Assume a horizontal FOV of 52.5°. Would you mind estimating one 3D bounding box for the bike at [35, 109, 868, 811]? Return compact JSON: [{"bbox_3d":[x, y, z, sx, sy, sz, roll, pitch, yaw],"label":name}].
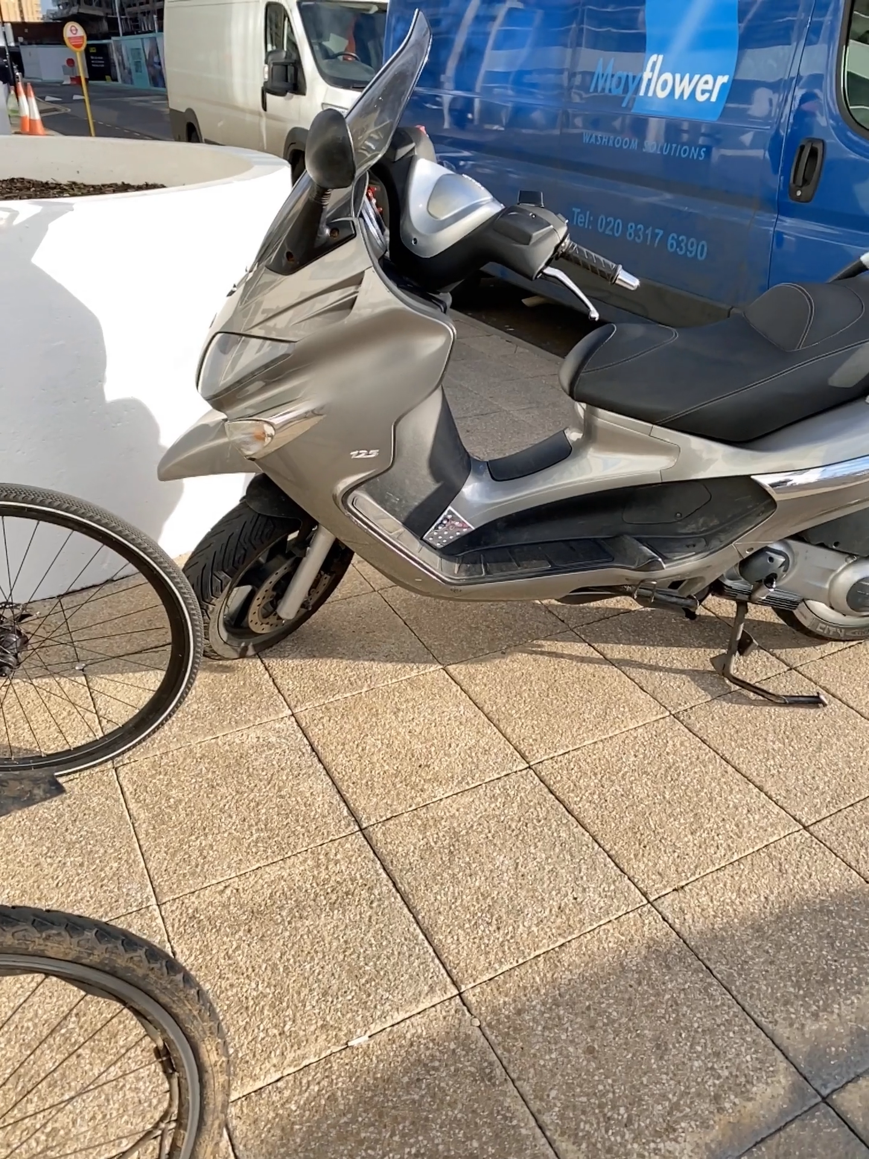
[{"bbox_3d":[0.329,-0.283,1.696,1.653,1.062,0.658,-4,30,-8],"label":"bike"}]
